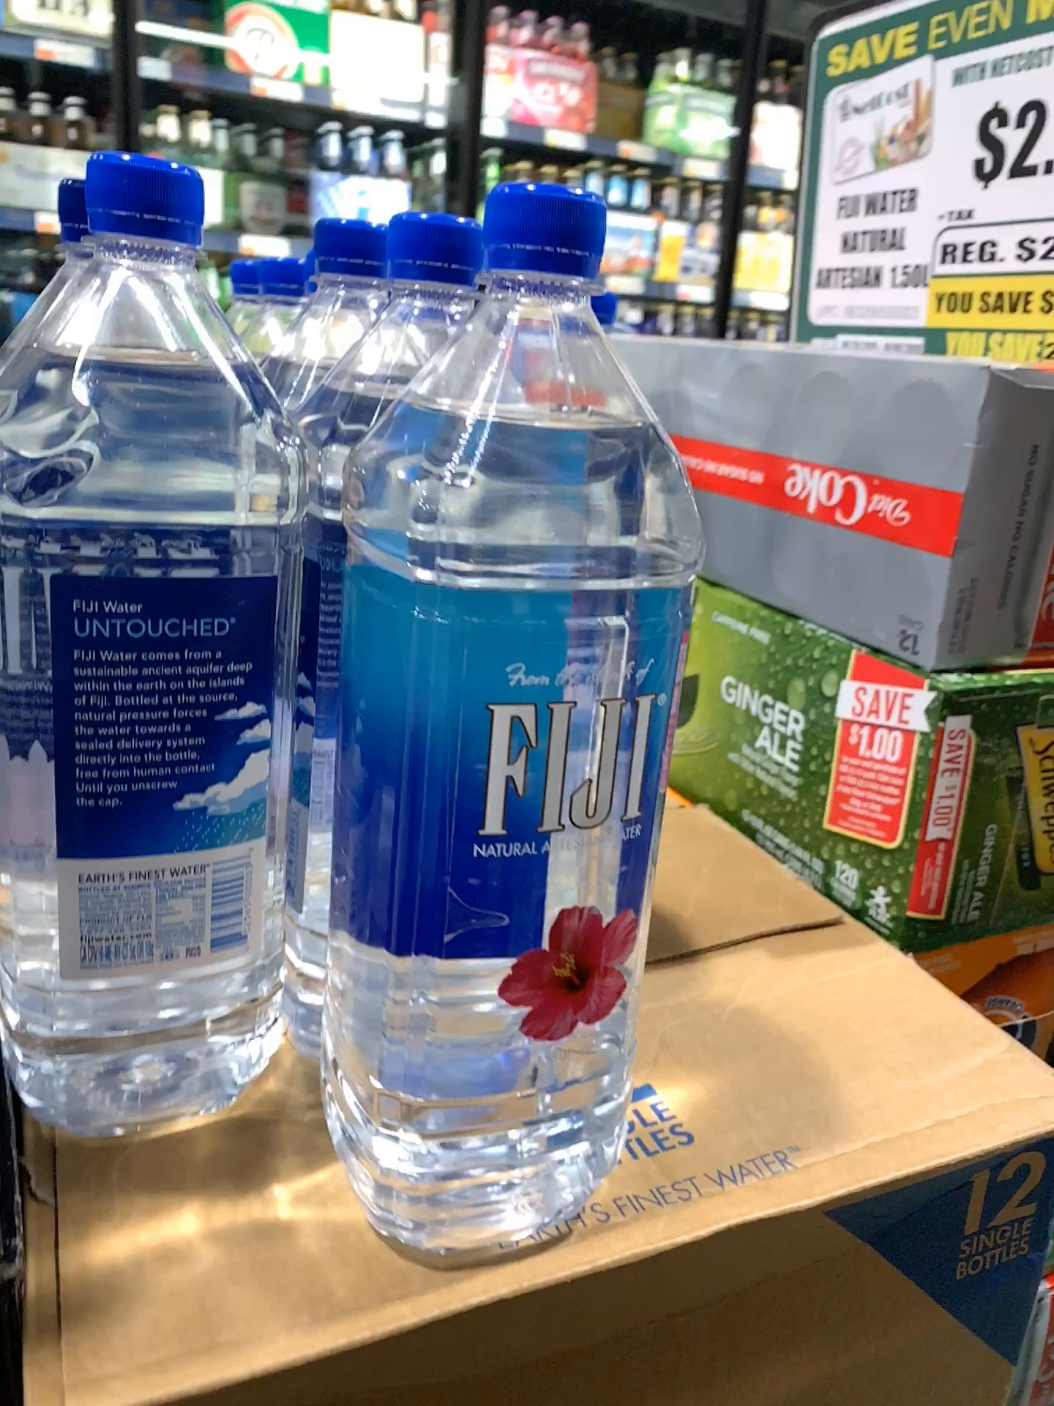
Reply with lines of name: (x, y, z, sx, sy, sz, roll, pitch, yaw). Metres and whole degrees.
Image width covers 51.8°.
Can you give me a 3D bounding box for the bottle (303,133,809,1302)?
bottle: (-0.007, 0.011, 0.296, 0.090, 0.279, 0.080, -2, 19, -21)
